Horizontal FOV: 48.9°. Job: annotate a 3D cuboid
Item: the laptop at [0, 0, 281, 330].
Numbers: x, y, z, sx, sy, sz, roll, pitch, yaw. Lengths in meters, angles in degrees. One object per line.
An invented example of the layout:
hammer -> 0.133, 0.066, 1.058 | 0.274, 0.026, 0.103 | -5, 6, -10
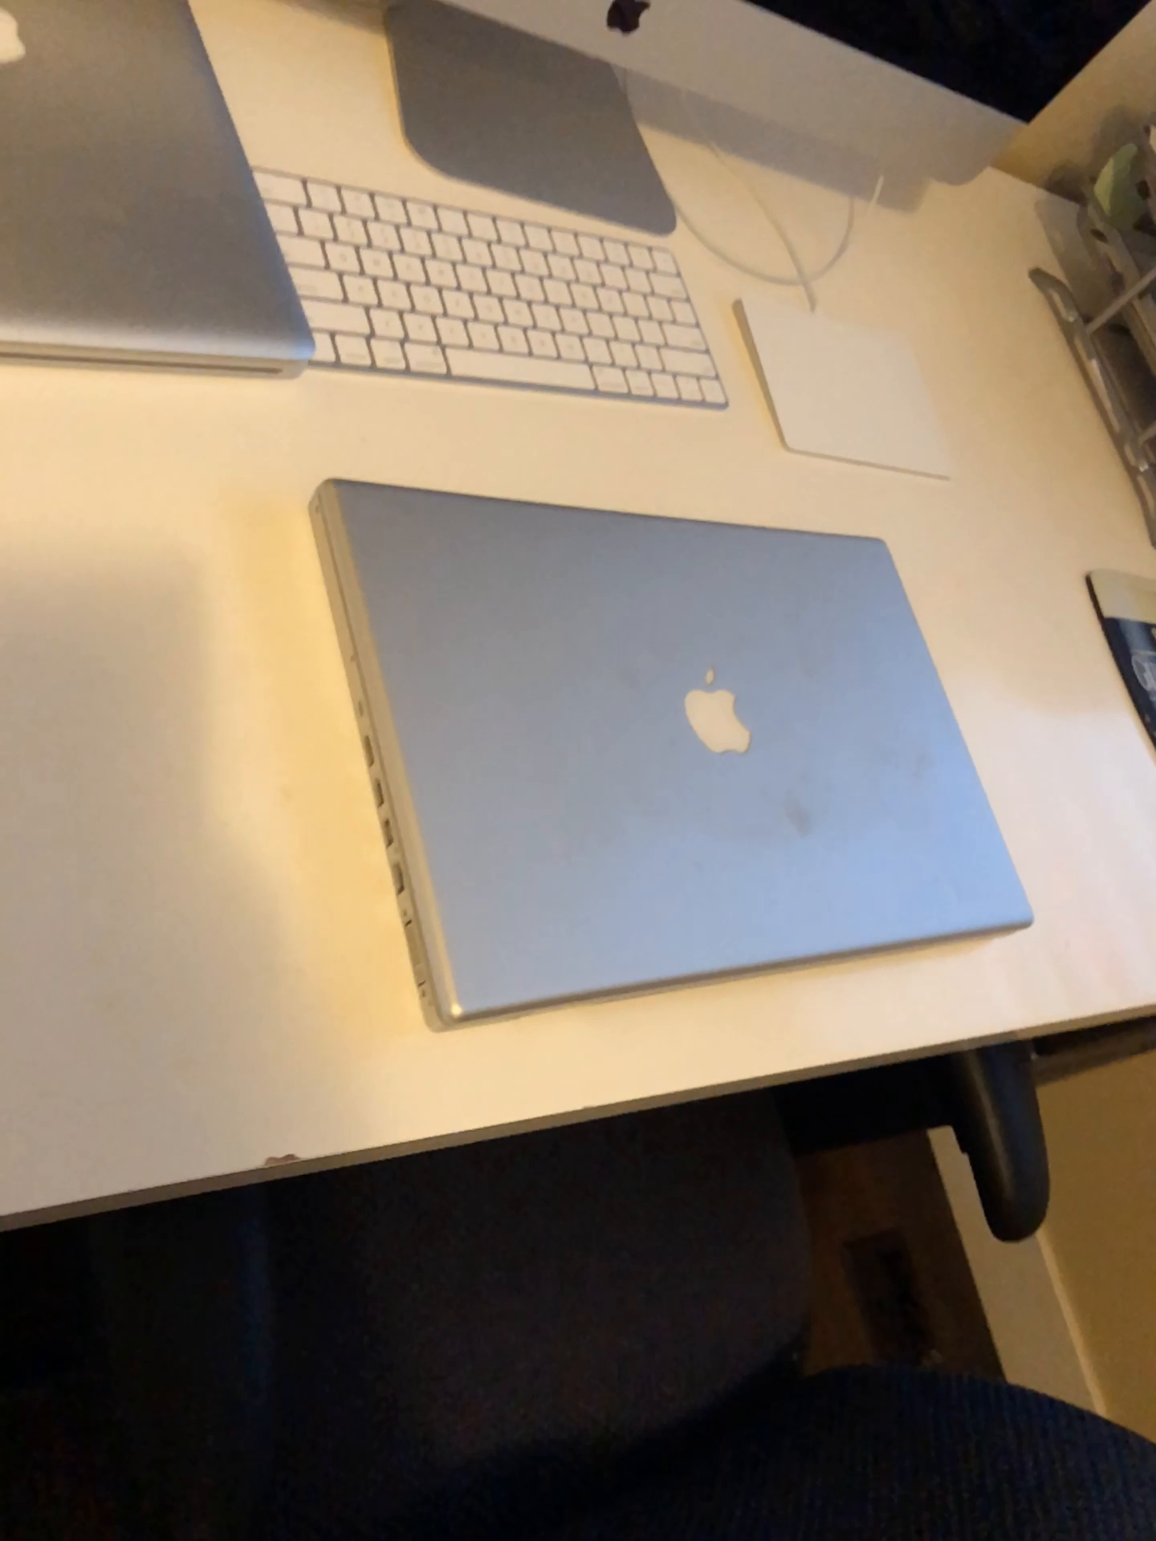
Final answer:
laptop -> -0.246, -0.307, 0.535 | 0.201, 0.009, 0.278 | -8, 73, -40

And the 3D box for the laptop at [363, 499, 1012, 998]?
laptop -> 0.068, -0.022, 0.605 | 0.334, 0.005, 0.214 | -2, 69, -36
